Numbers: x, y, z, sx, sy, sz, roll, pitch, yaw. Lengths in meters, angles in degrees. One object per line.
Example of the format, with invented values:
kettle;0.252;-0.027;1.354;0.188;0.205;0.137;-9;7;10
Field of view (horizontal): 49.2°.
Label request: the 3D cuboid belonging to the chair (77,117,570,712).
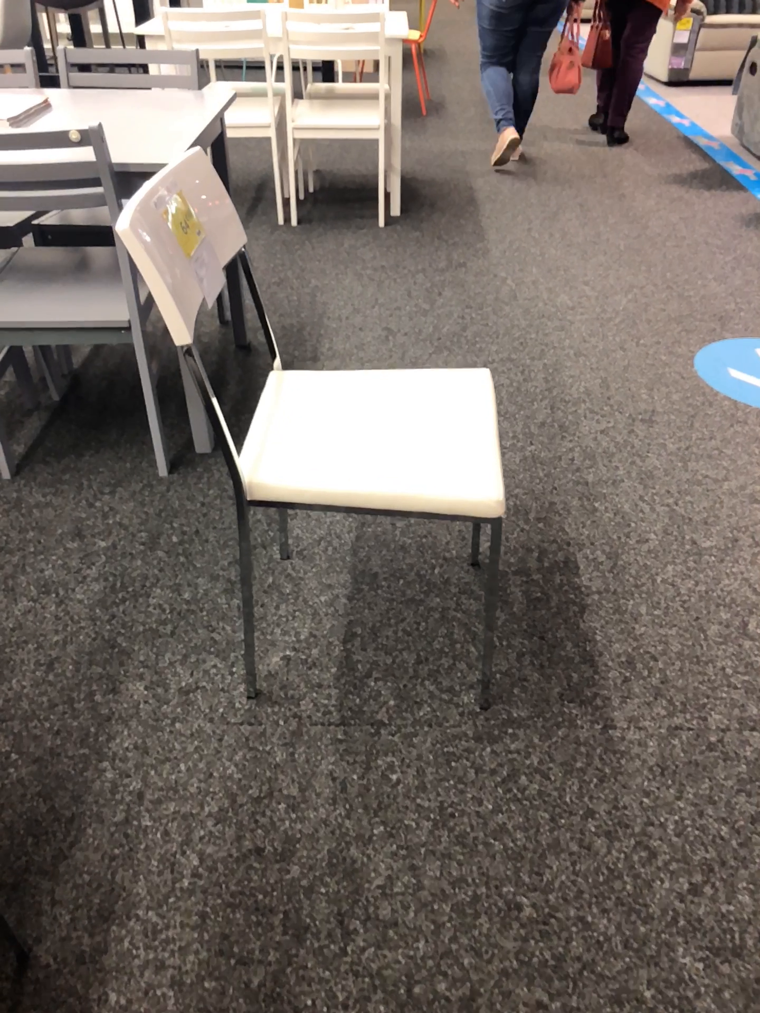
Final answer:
chair;-0.062;-0.138;1.350;0.540;0.815;0.503;0;35;0
